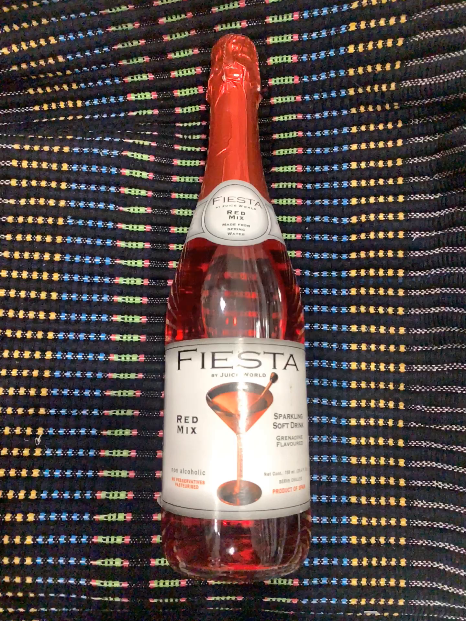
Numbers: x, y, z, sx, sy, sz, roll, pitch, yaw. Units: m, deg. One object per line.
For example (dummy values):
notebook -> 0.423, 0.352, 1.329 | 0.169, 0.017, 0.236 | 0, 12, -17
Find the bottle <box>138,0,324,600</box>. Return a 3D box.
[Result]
bottle -> -0.003, -0.019, 0.275 | 0.080, 0.070, 0.310 | 0, 77, -1
